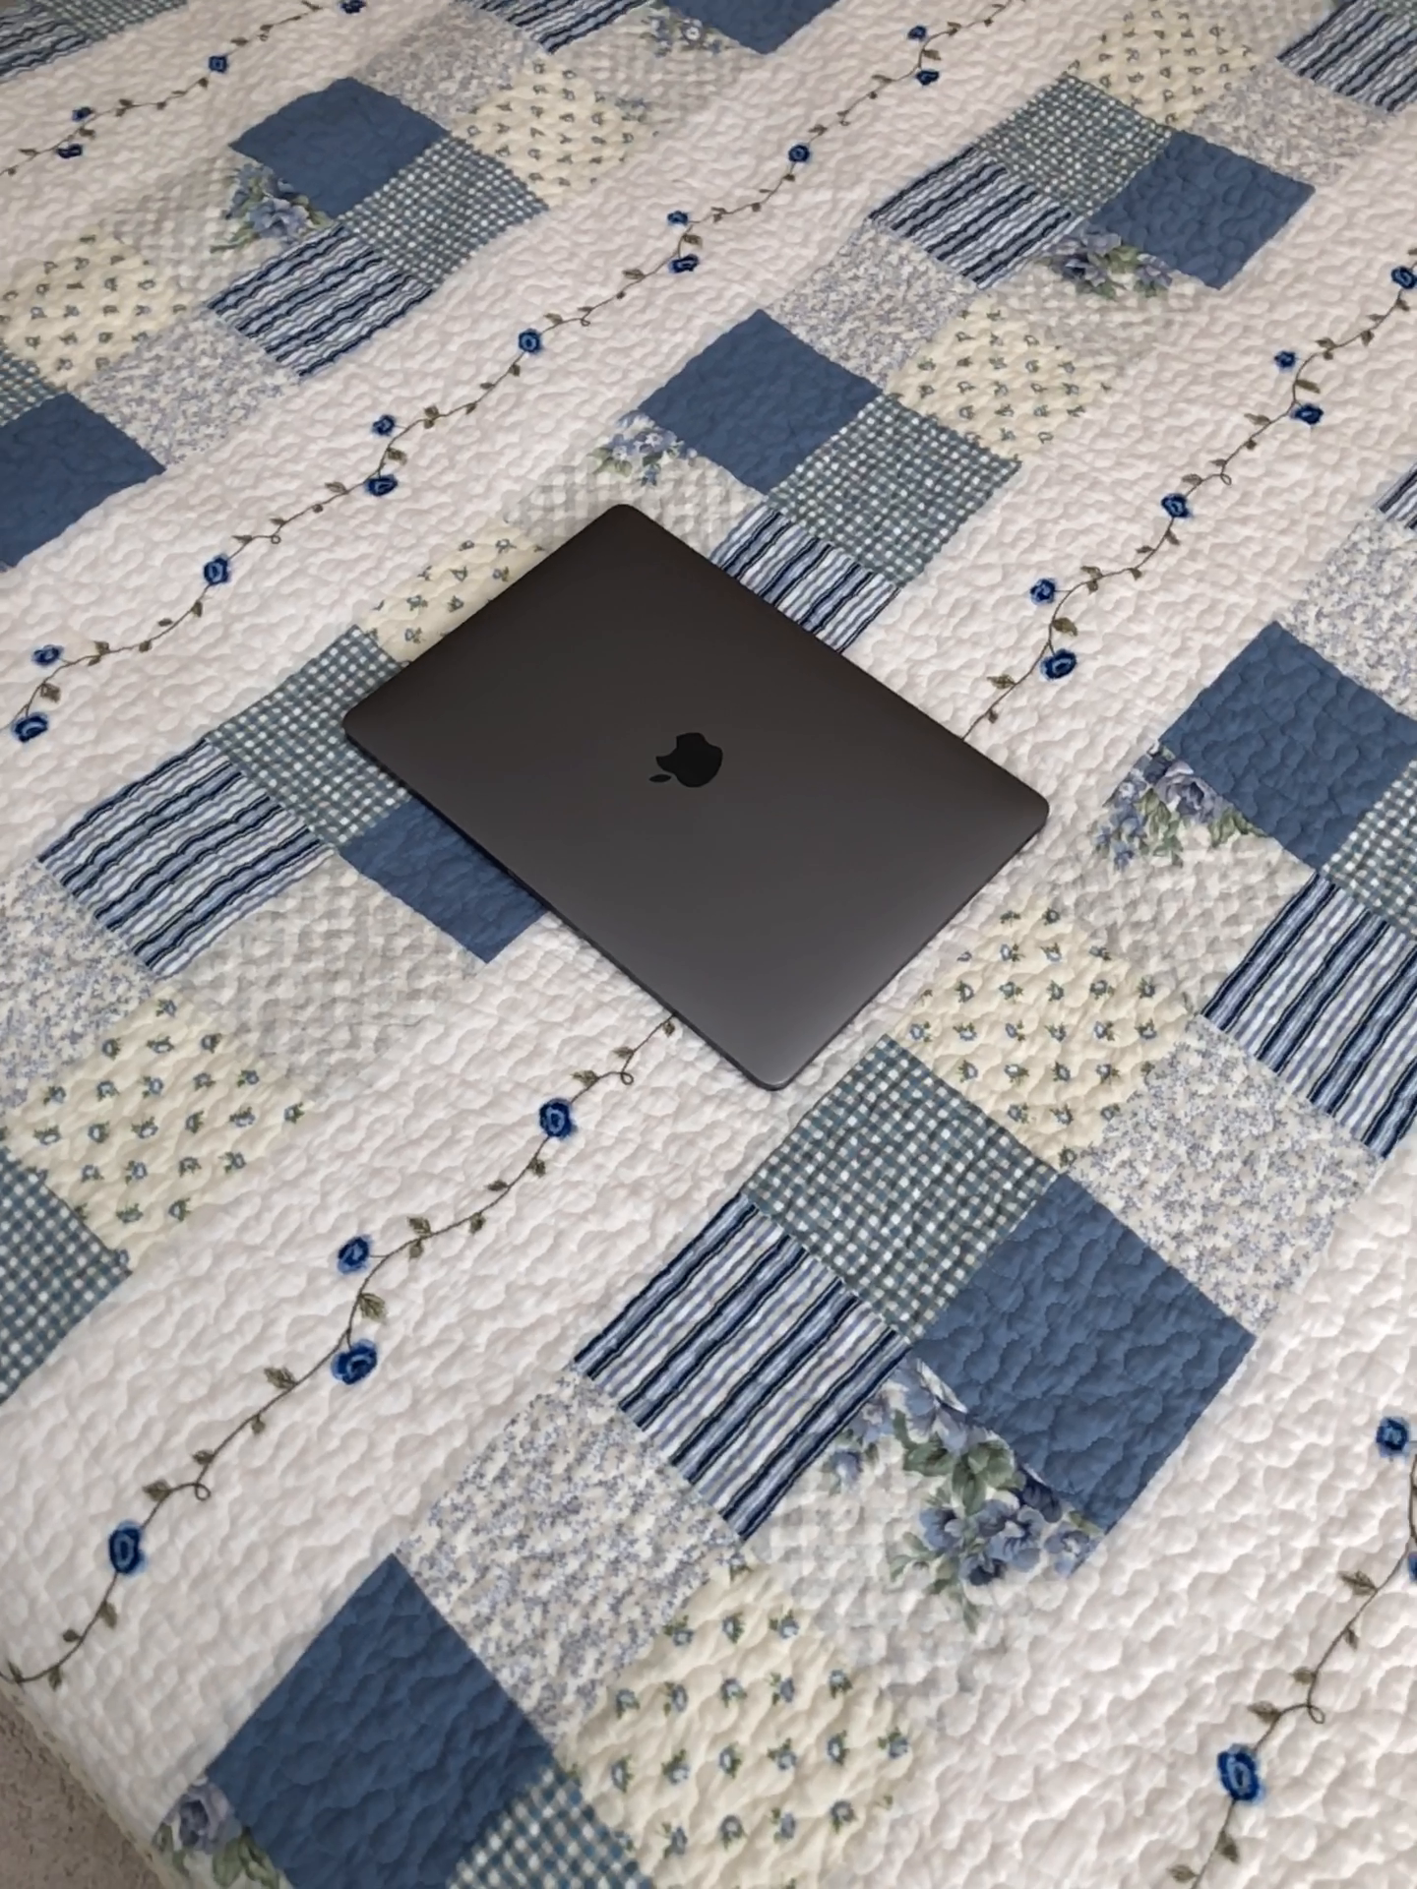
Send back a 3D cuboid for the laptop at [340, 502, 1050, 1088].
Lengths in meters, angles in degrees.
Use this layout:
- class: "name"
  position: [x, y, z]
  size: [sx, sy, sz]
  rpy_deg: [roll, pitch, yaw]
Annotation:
- class: "laptop"
  position: [-0.009, -0.089, 0.769]
  size: [0.290, 0.005, 0.201]
  rpy_deg: [39, 67, 19]
